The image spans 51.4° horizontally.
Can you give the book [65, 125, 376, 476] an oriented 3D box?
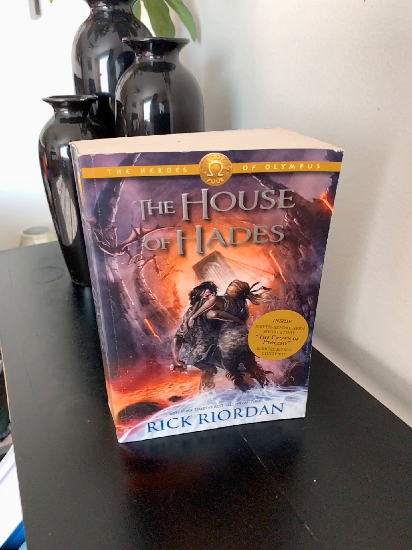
[{"bbox_3d":[0.003,0.008,0.261,0.144,0.176,0.078,-8,27,-18],"label":"book"}]
